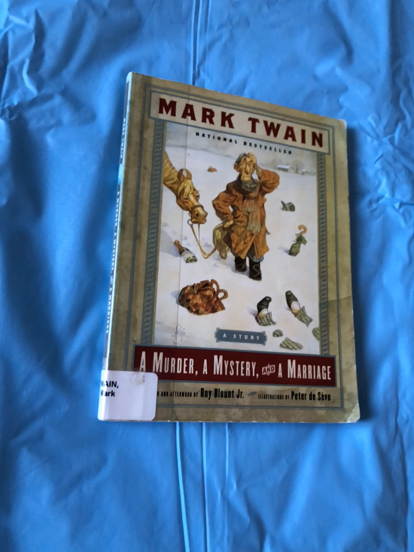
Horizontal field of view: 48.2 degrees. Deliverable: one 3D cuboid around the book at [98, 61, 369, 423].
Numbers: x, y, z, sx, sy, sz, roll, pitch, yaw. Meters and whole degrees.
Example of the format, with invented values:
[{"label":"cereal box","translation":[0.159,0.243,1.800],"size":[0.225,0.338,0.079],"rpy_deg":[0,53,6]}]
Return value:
[{"label":"book","translation":[0.023,-0.018,0.291],"size":[0.160,0.020,0.210],"rpy_deg":[6,77,-18]}]
